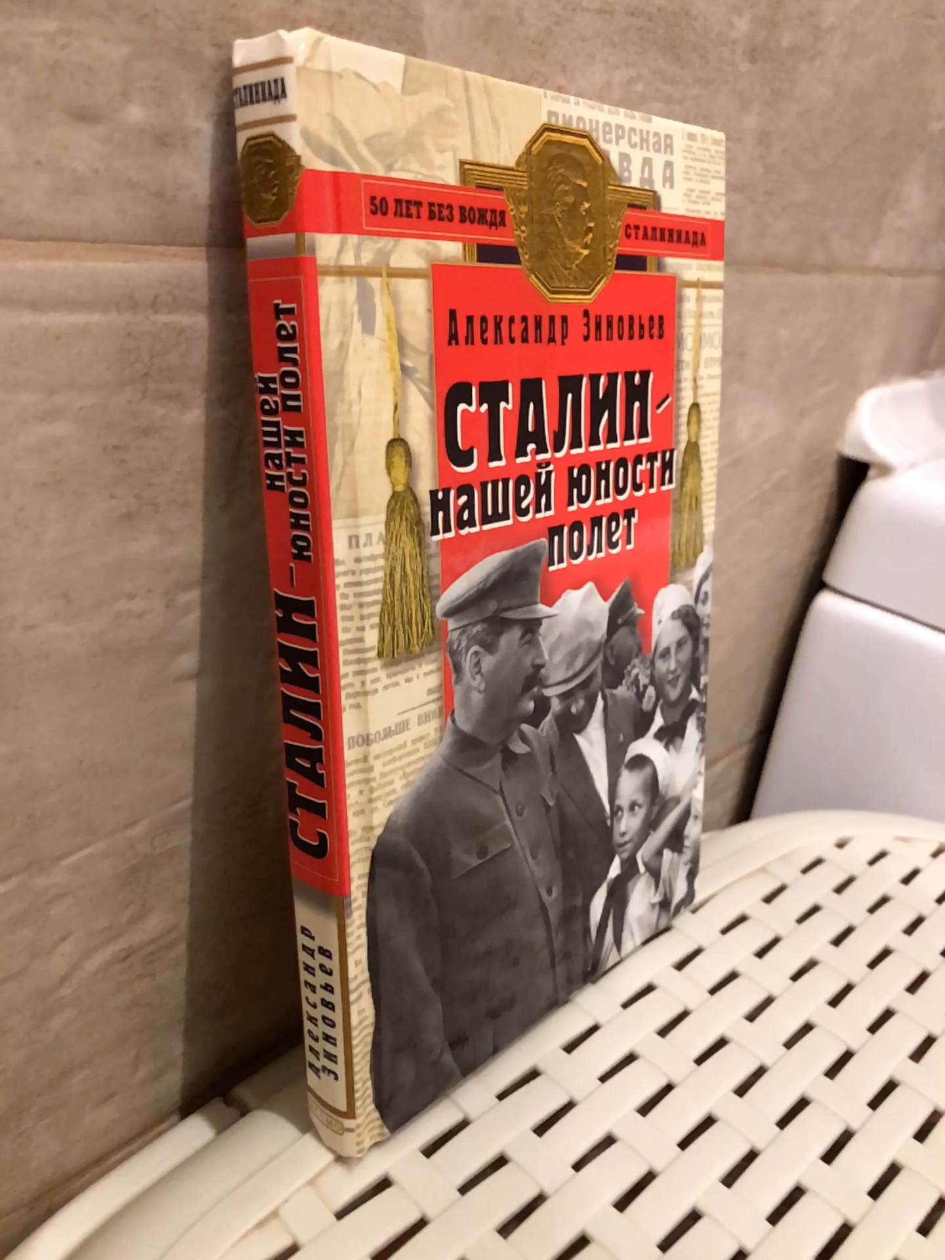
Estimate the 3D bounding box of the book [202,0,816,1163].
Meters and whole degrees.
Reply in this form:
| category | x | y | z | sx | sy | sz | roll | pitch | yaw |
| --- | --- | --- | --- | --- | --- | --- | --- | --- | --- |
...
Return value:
| category | x | y | z | sx | sy | sz | roll | pitch | yaw |
| --- | --- | --- | --- | --- | --- | --- | --- | --- | --- |
| book | 0.019 | -0.014 | 0.227 | 0.030 | 0.199 | 0.141 | 15 | 22 | 42 |
